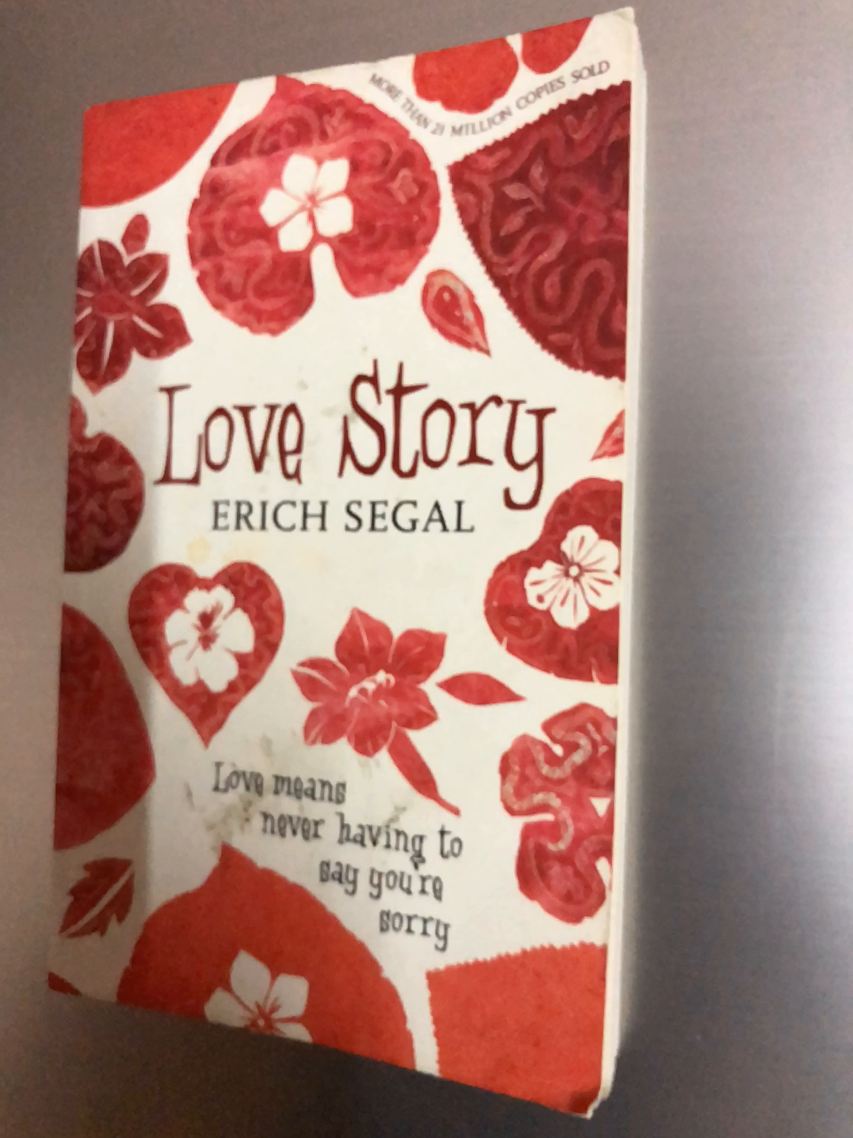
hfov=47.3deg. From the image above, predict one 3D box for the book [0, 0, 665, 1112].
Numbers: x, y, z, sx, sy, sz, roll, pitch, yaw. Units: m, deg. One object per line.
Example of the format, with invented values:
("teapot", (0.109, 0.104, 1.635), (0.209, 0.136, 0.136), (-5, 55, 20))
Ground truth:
("book", (-0.022, -0.011, 0.179), (0.120, 0.030, 0.180), (1, 88, 18))
